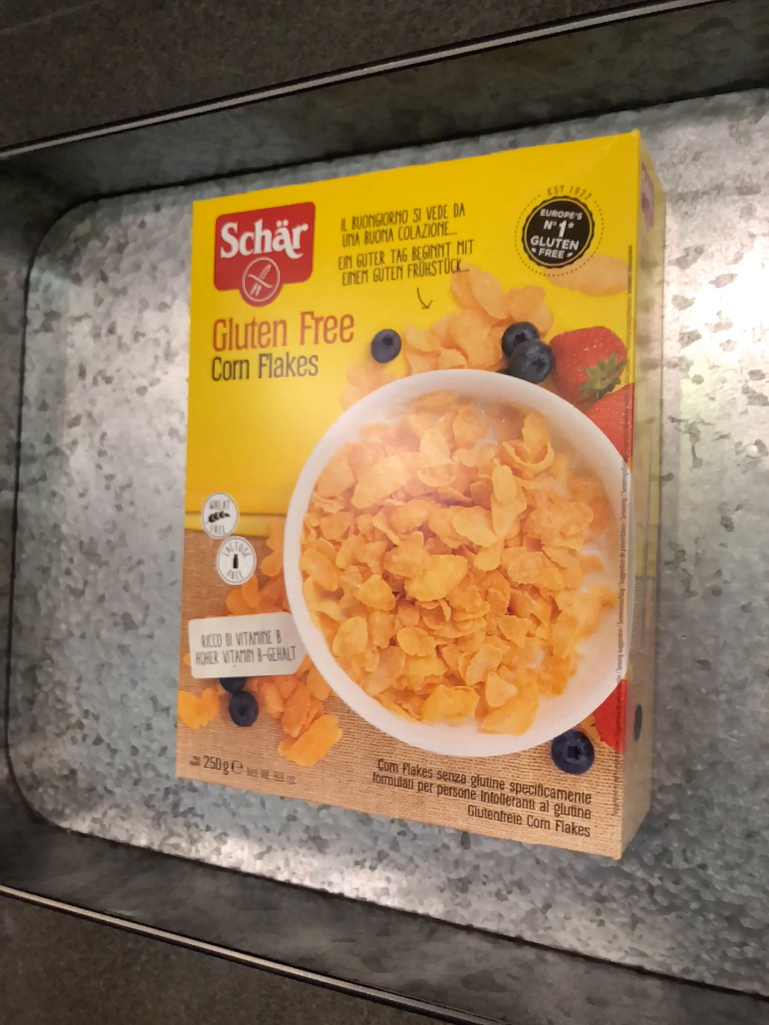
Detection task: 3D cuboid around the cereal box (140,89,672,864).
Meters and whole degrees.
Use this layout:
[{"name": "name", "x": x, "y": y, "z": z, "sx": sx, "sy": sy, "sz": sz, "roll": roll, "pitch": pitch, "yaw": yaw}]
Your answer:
[{"name": "cereal box", "x": 0.006, "y": -0.013, "z": 0.351, "sx": 0.200, "sy": 0.070, "sz": 0.250, "roll": 1, "pitch": 90, "yaw": 25}]
